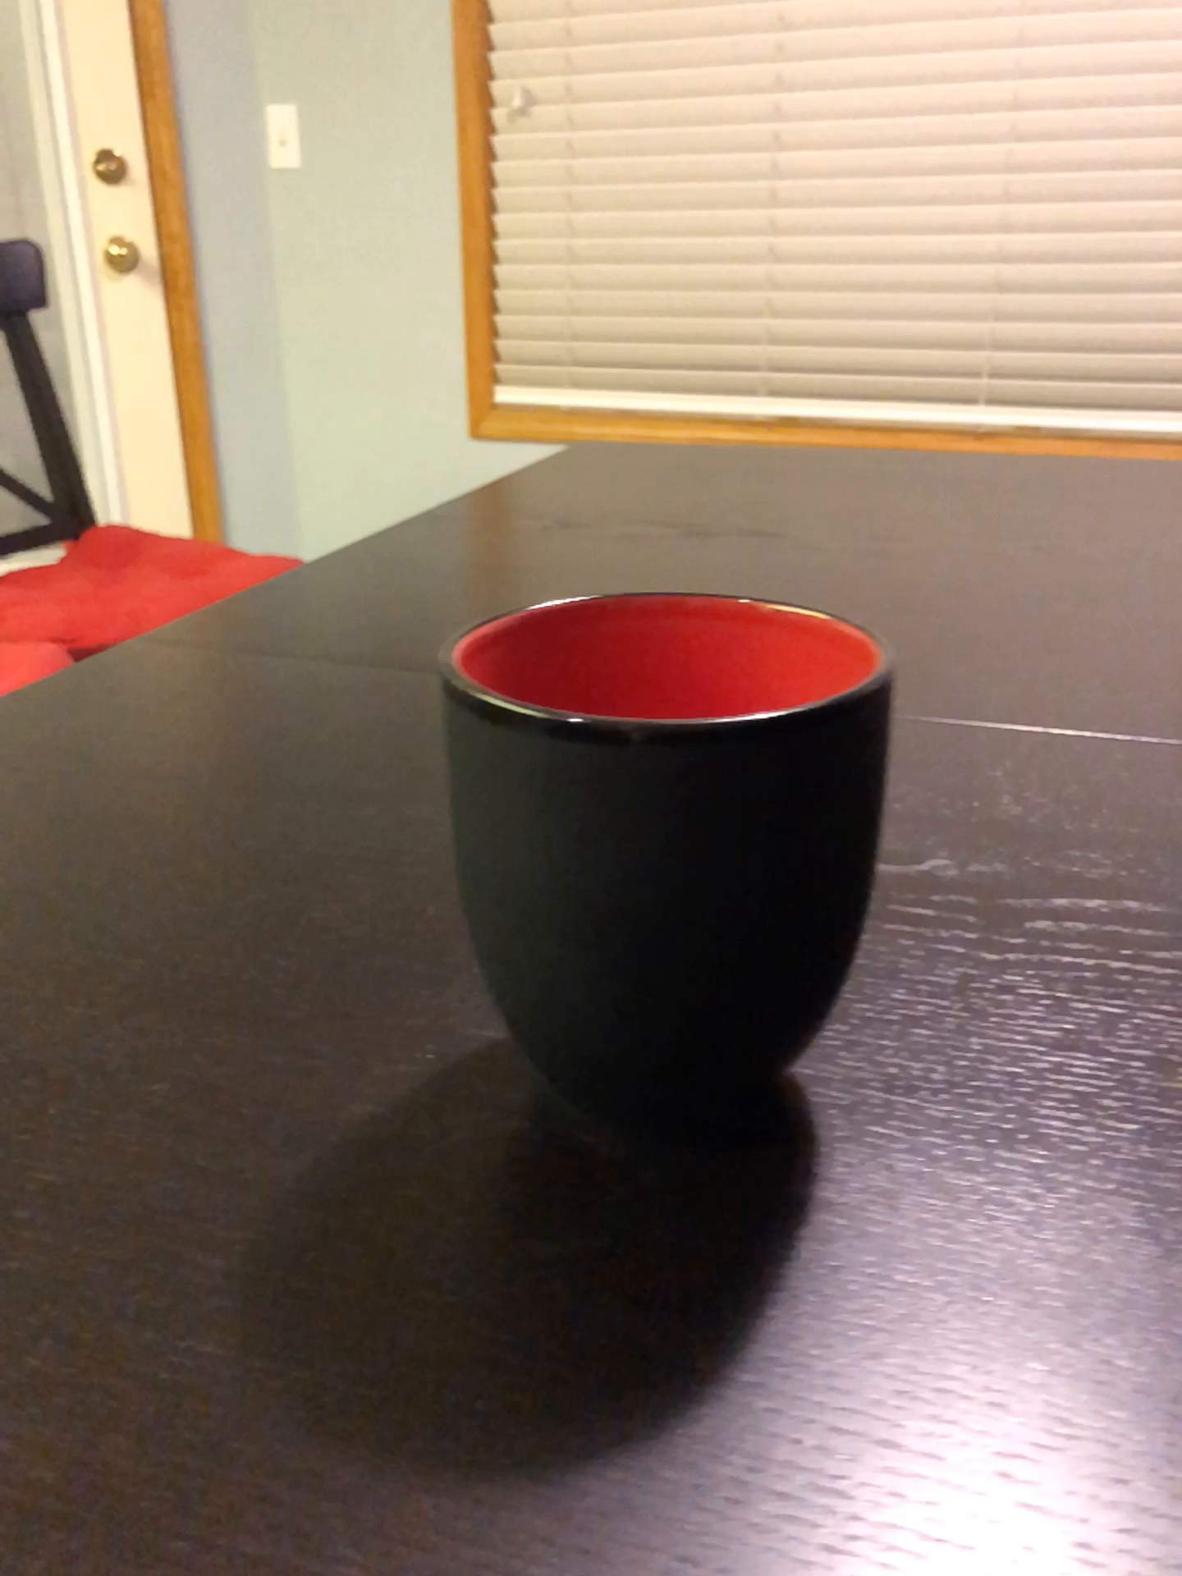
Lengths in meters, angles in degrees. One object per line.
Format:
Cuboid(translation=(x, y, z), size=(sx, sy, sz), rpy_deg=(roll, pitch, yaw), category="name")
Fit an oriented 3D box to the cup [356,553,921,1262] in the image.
Cuboid(translation=(0.022, 0.014, 0.322), size=(0.100, 0.109, 0.141), rpy_deg=(5, 23, 14), category="cup")
